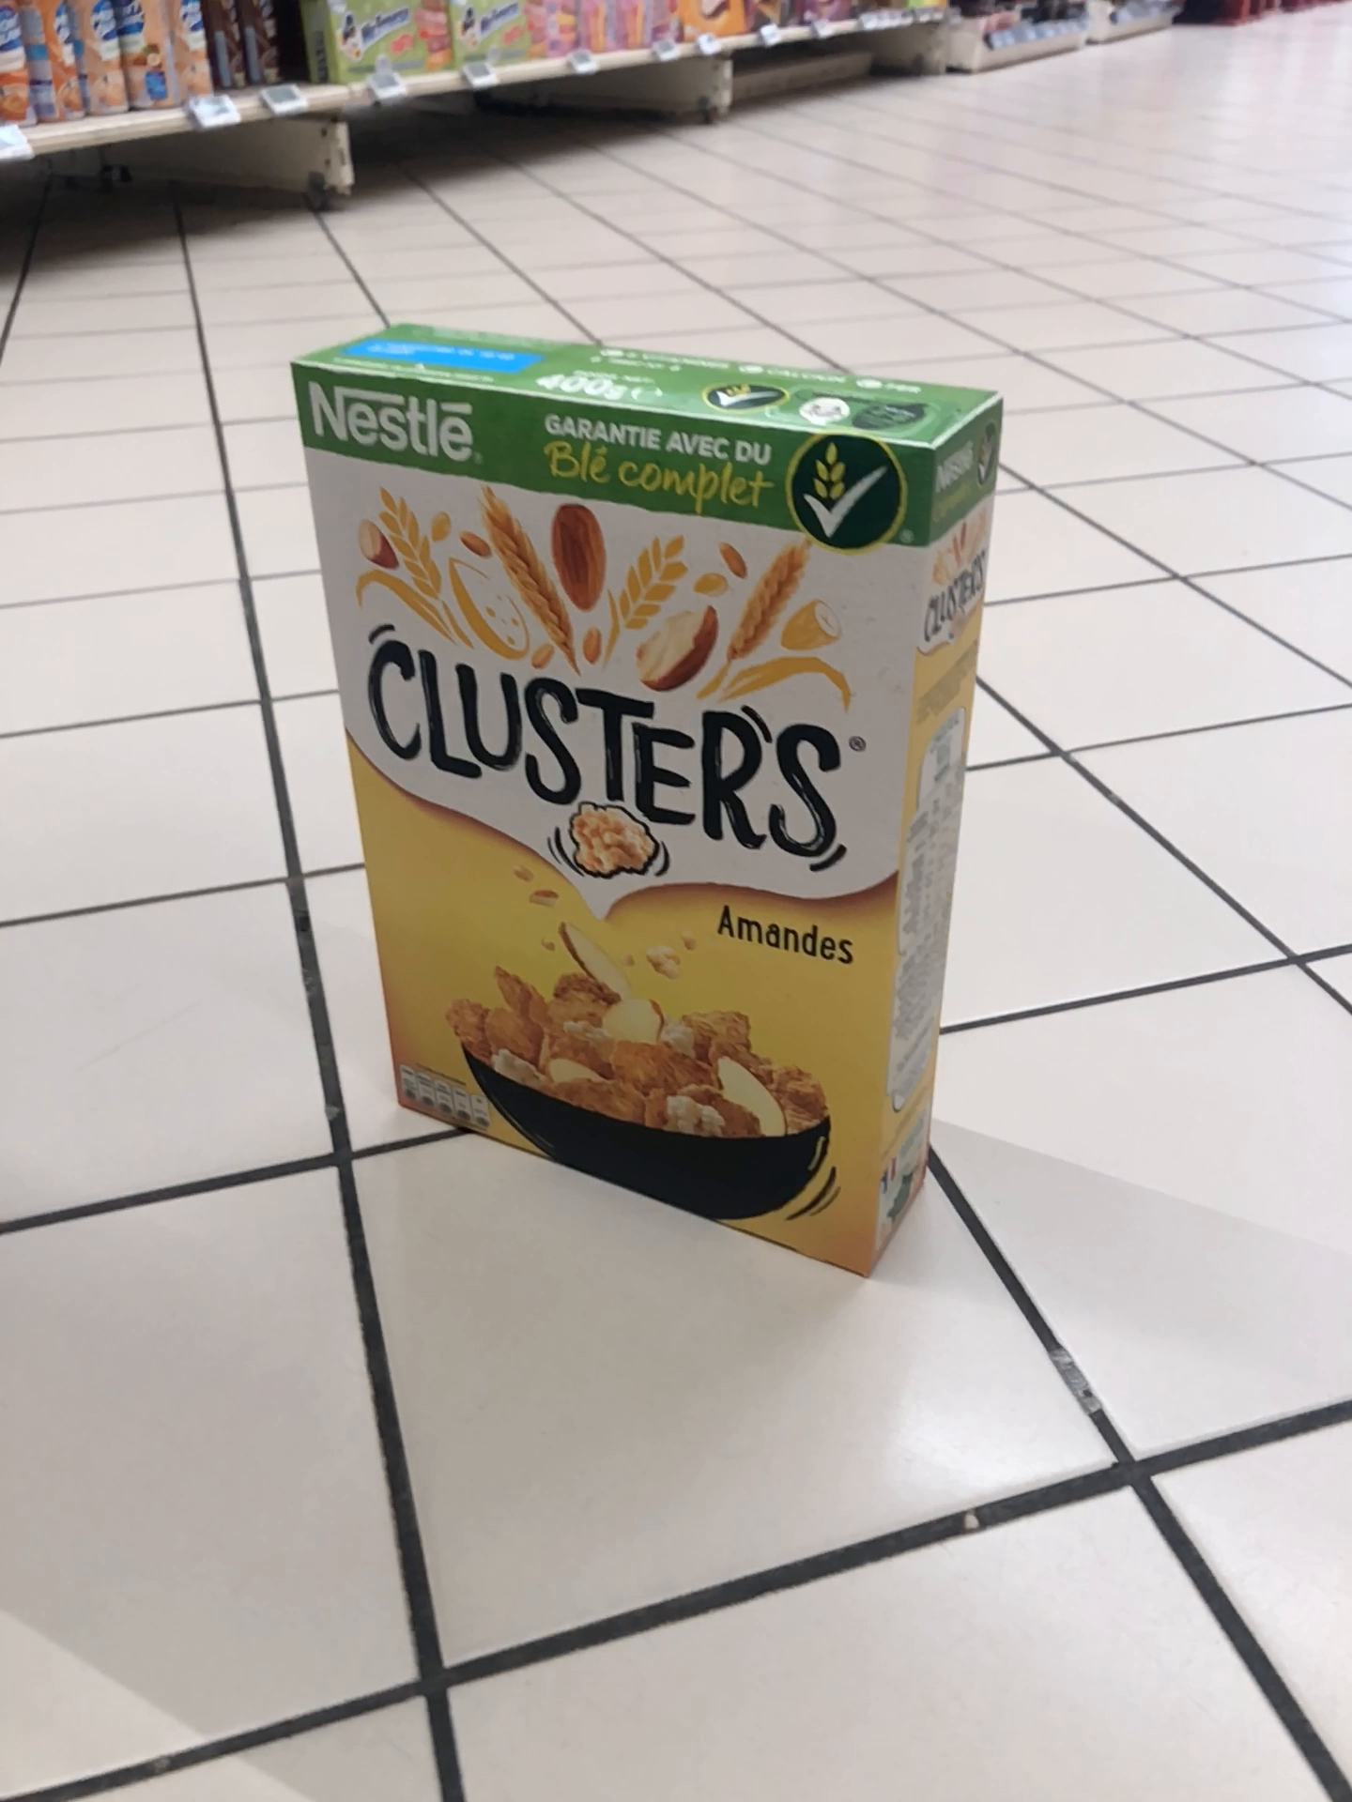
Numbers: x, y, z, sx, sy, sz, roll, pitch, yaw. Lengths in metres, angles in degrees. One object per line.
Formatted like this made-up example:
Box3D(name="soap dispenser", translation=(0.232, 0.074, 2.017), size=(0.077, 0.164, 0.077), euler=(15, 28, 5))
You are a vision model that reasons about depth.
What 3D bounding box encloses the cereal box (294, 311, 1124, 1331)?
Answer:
Box3D(name="cereal box", translation=(0.003, -0.022, 0.454), size=(0.210, 0.268, 0.060), euler=(17, 36, 25))
